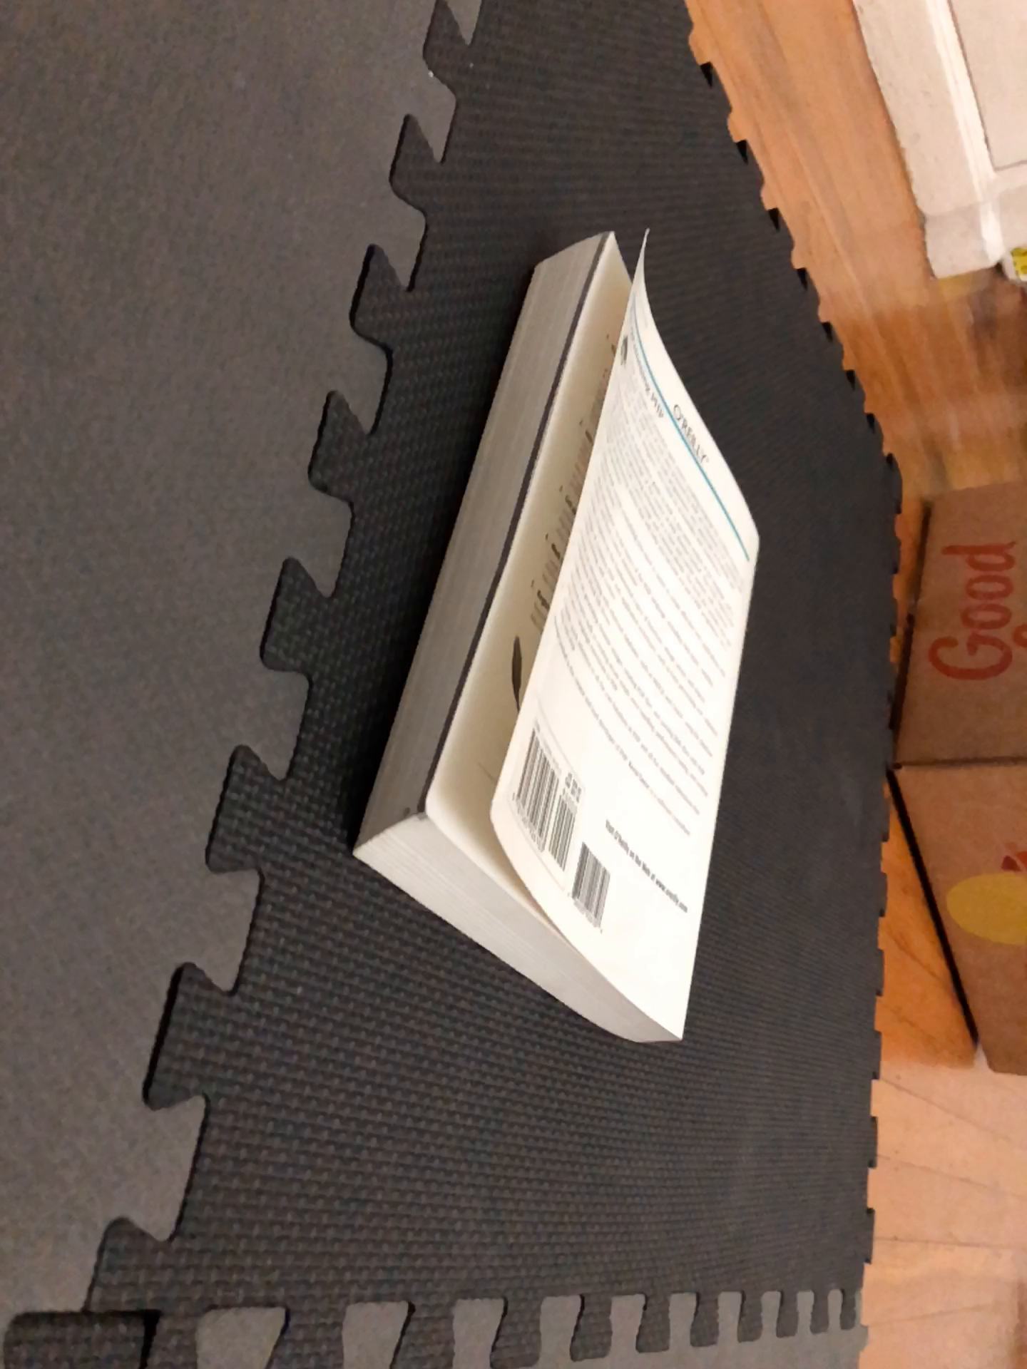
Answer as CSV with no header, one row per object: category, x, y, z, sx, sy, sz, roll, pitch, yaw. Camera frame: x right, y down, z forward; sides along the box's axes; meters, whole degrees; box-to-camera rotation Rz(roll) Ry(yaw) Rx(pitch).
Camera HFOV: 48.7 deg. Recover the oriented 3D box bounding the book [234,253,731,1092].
book,0.017,-0.002,0.509,0.231,0.040,0.291,50,47,-43
